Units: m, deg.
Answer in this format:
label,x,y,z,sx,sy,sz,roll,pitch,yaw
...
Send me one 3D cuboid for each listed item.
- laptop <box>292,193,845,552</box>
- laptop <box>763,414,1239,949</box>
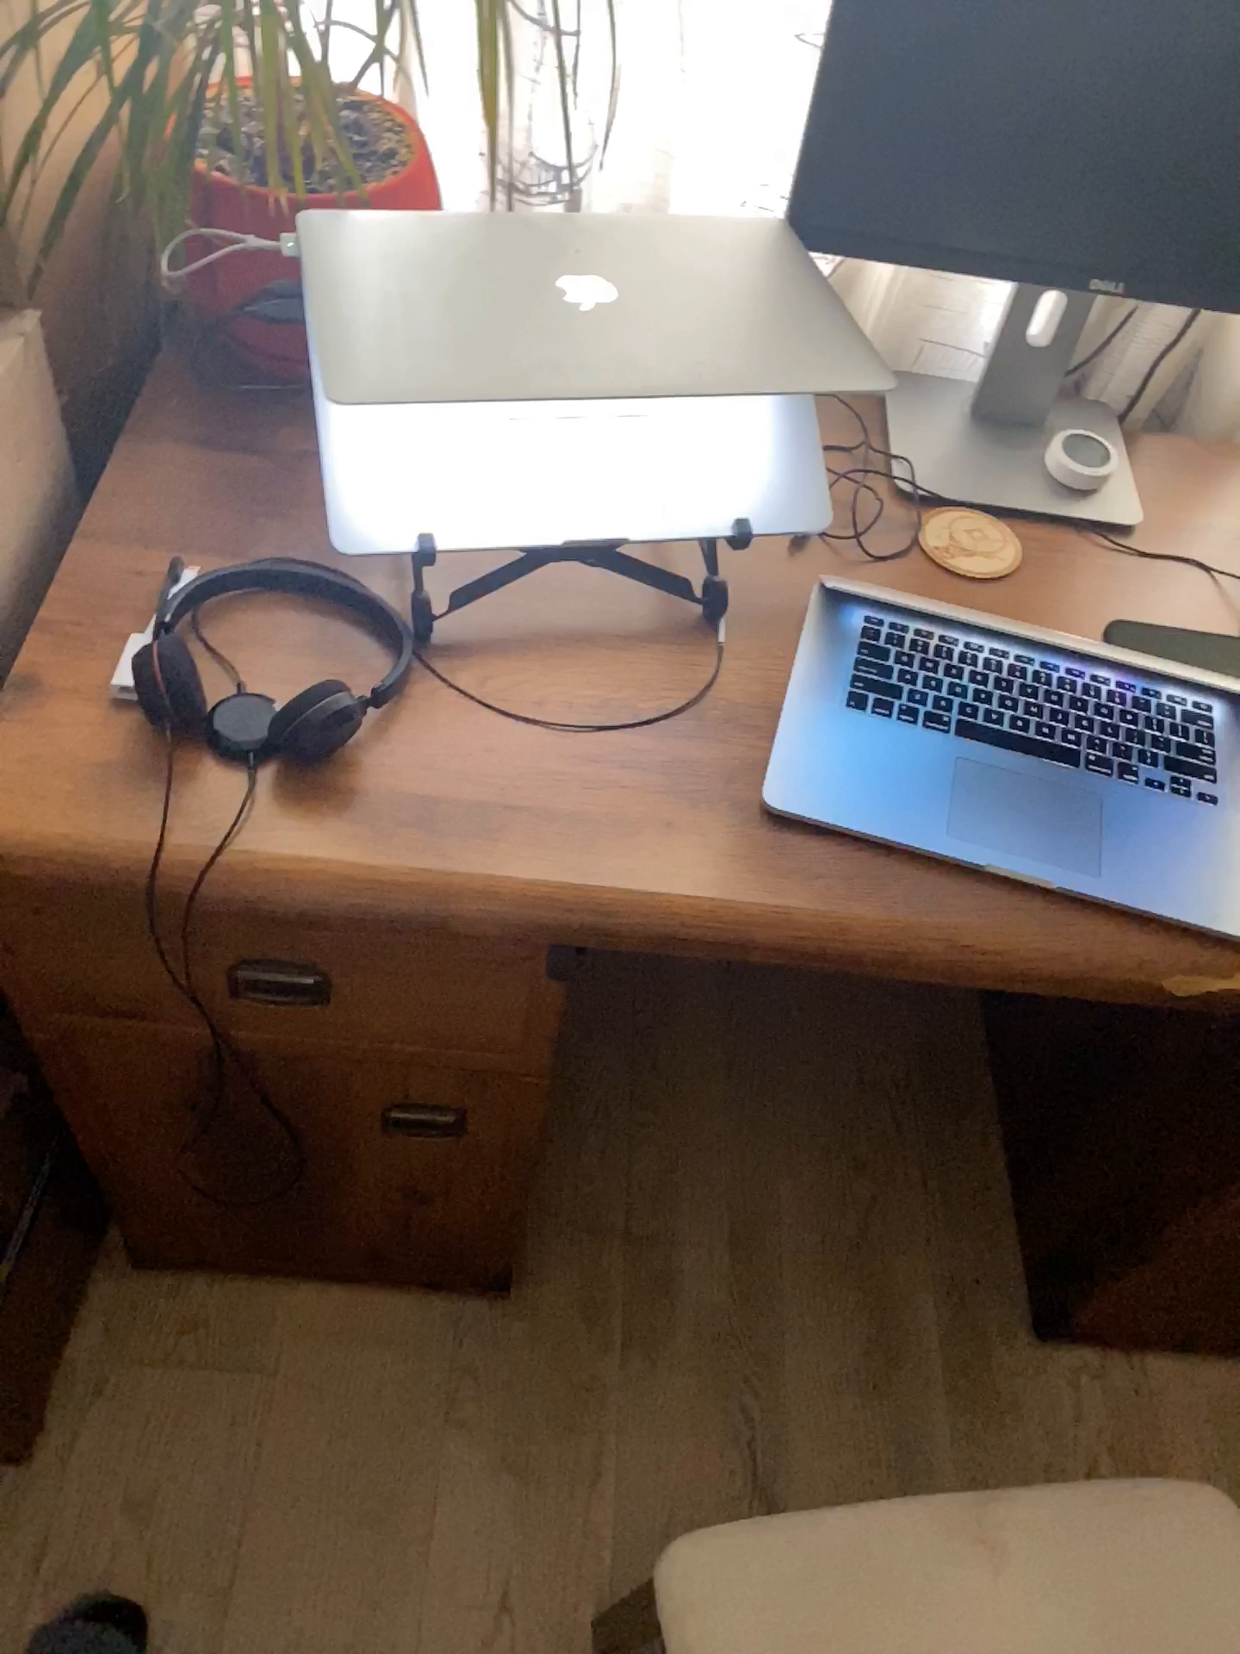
label,x,y,z,sx,sy,sz,roll,pitch,yaw
laptop,-0.034,-0.322,0.876,0.355,0.022,0.243,-6,78,-13
laptop,0.306,-0.104,0.852,0.355,0.152,0.236,16,52,4
